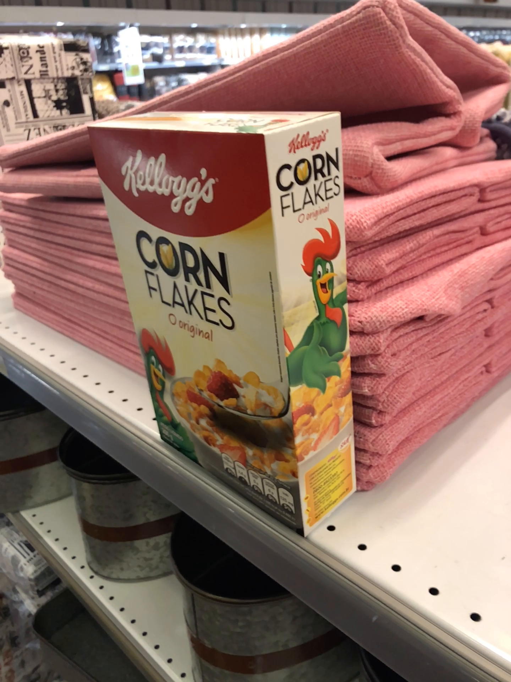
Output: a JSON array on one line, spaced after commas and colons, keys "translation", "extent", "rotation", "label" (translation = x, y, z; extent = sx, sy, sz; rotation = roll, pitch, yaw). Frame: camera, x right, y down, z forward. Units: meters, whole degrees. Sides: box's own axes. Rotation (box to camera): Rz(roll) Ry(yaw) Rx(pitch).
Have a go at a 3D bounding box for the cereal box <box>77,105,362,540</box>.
[{"translation": [-0.021, -0.020, 0.395], "extent": [0.060, 0.258, 0.181], "rotation": [-28, 34, -34], "label": "cereal box"}]
